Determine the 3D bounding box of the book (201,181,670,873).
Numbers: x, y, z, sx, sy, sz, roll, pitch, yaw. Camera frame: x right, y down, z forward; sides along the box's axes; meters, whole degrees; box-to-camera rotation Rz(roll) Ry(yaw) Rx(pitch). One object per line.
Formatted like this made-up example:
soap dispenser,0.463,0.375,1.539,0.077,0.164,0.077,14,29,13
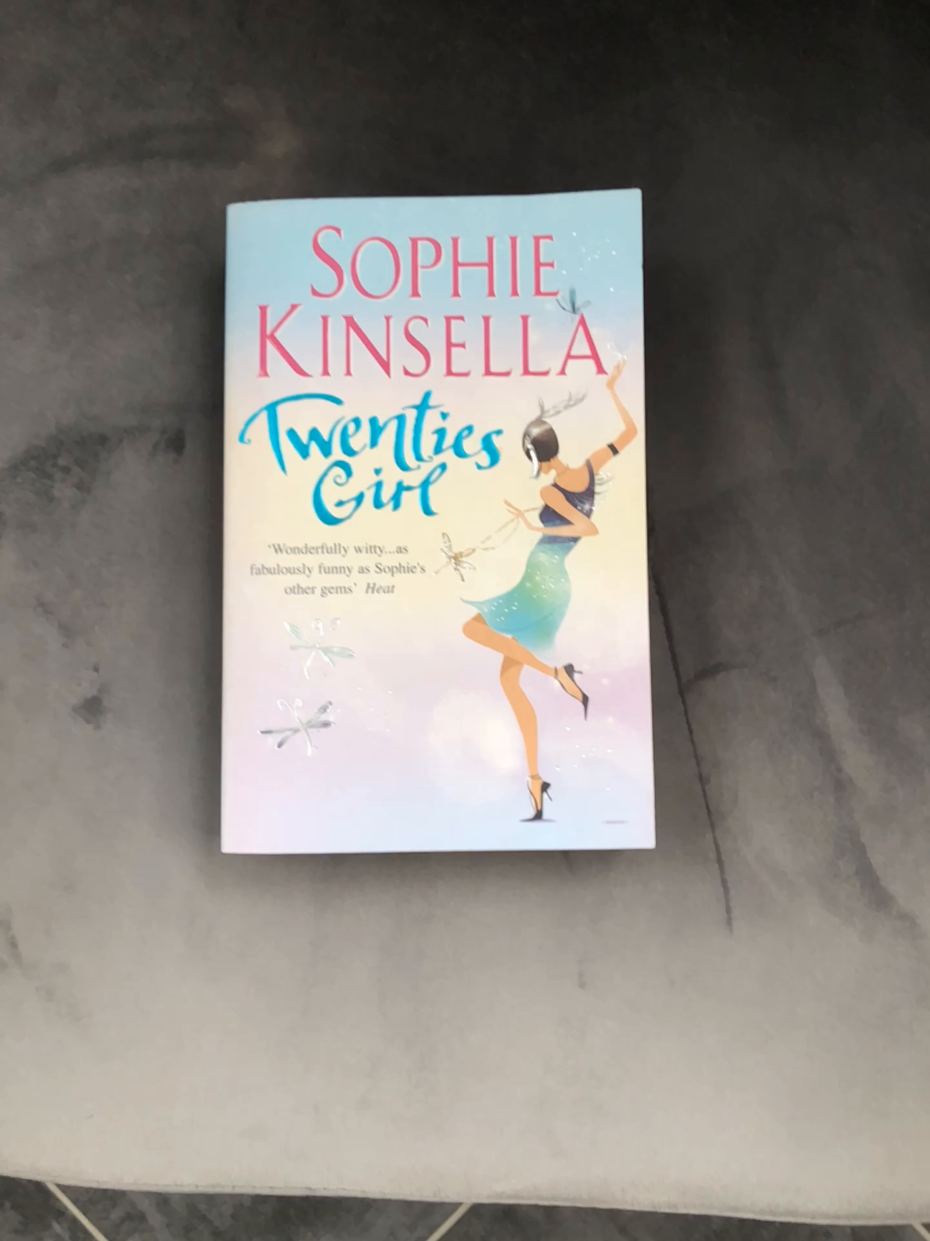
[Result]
book,-0.010,-0.029,0.319,0.132,0.043,0.200,-1,85,-2
